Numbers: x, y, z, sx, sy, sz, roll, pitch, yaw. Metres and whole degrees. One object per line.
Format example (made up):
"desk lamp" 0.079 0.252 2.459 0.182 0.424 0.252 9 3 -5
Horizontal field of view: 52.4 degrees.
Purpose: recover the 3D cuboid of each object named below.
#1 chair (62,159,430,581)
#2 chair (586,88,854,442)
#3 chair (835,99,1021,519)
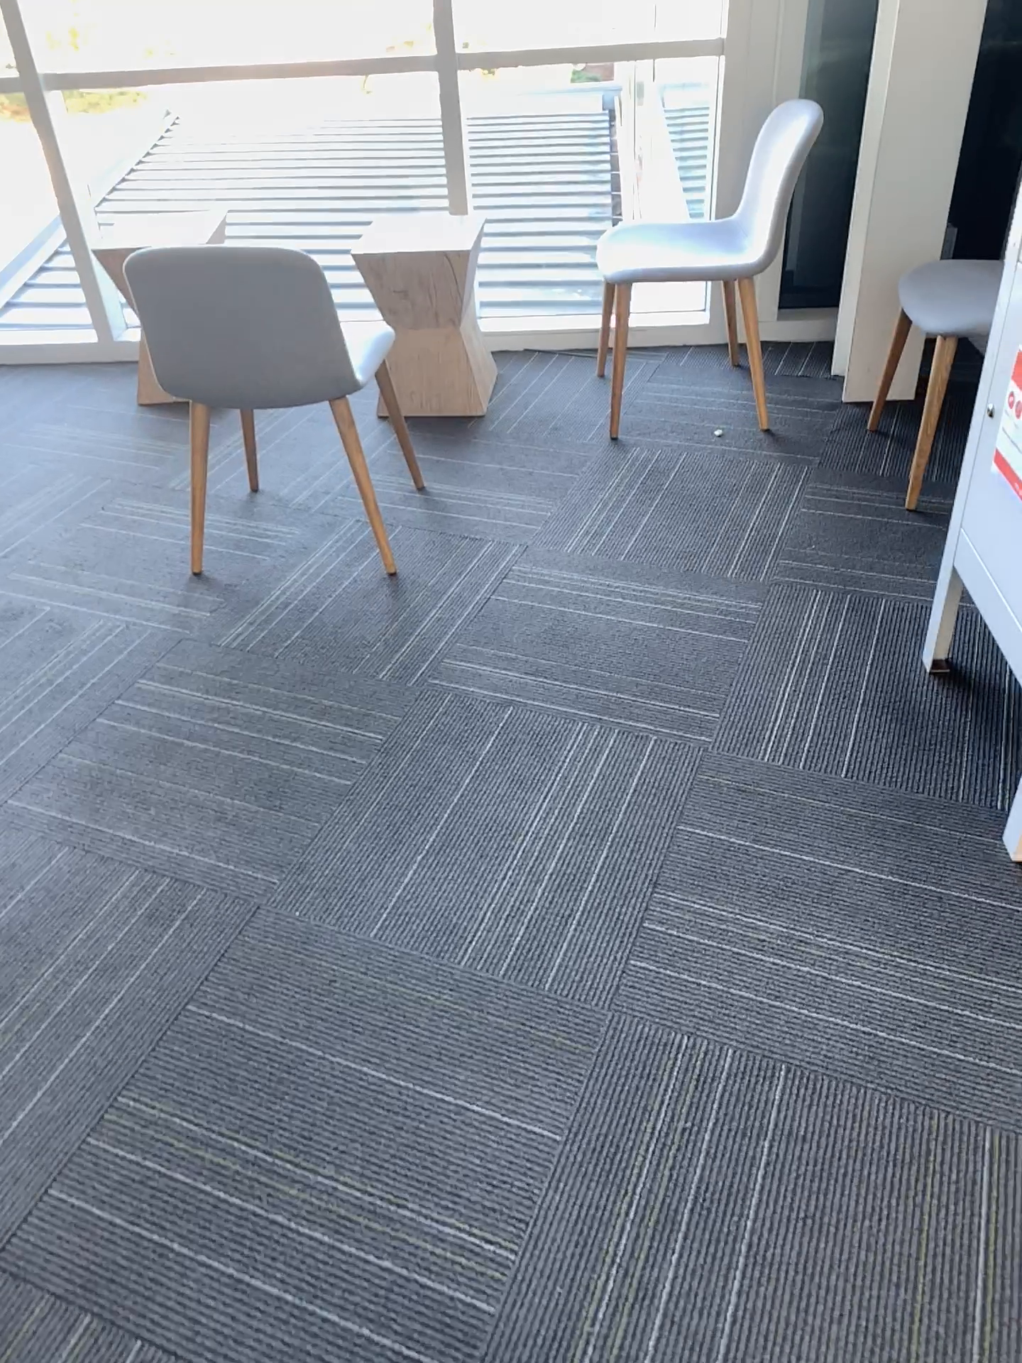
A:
"chair" -0.541 -0.726 2.432 0.560 0.765 0.604 0 37 5
"chair" 0.525 -1.171 2.914 0.600 0.745 0.644 -2 37 3
"chair" 1.209 -0.898 2.500 0.600 0.765 0.644 -2 37 3
